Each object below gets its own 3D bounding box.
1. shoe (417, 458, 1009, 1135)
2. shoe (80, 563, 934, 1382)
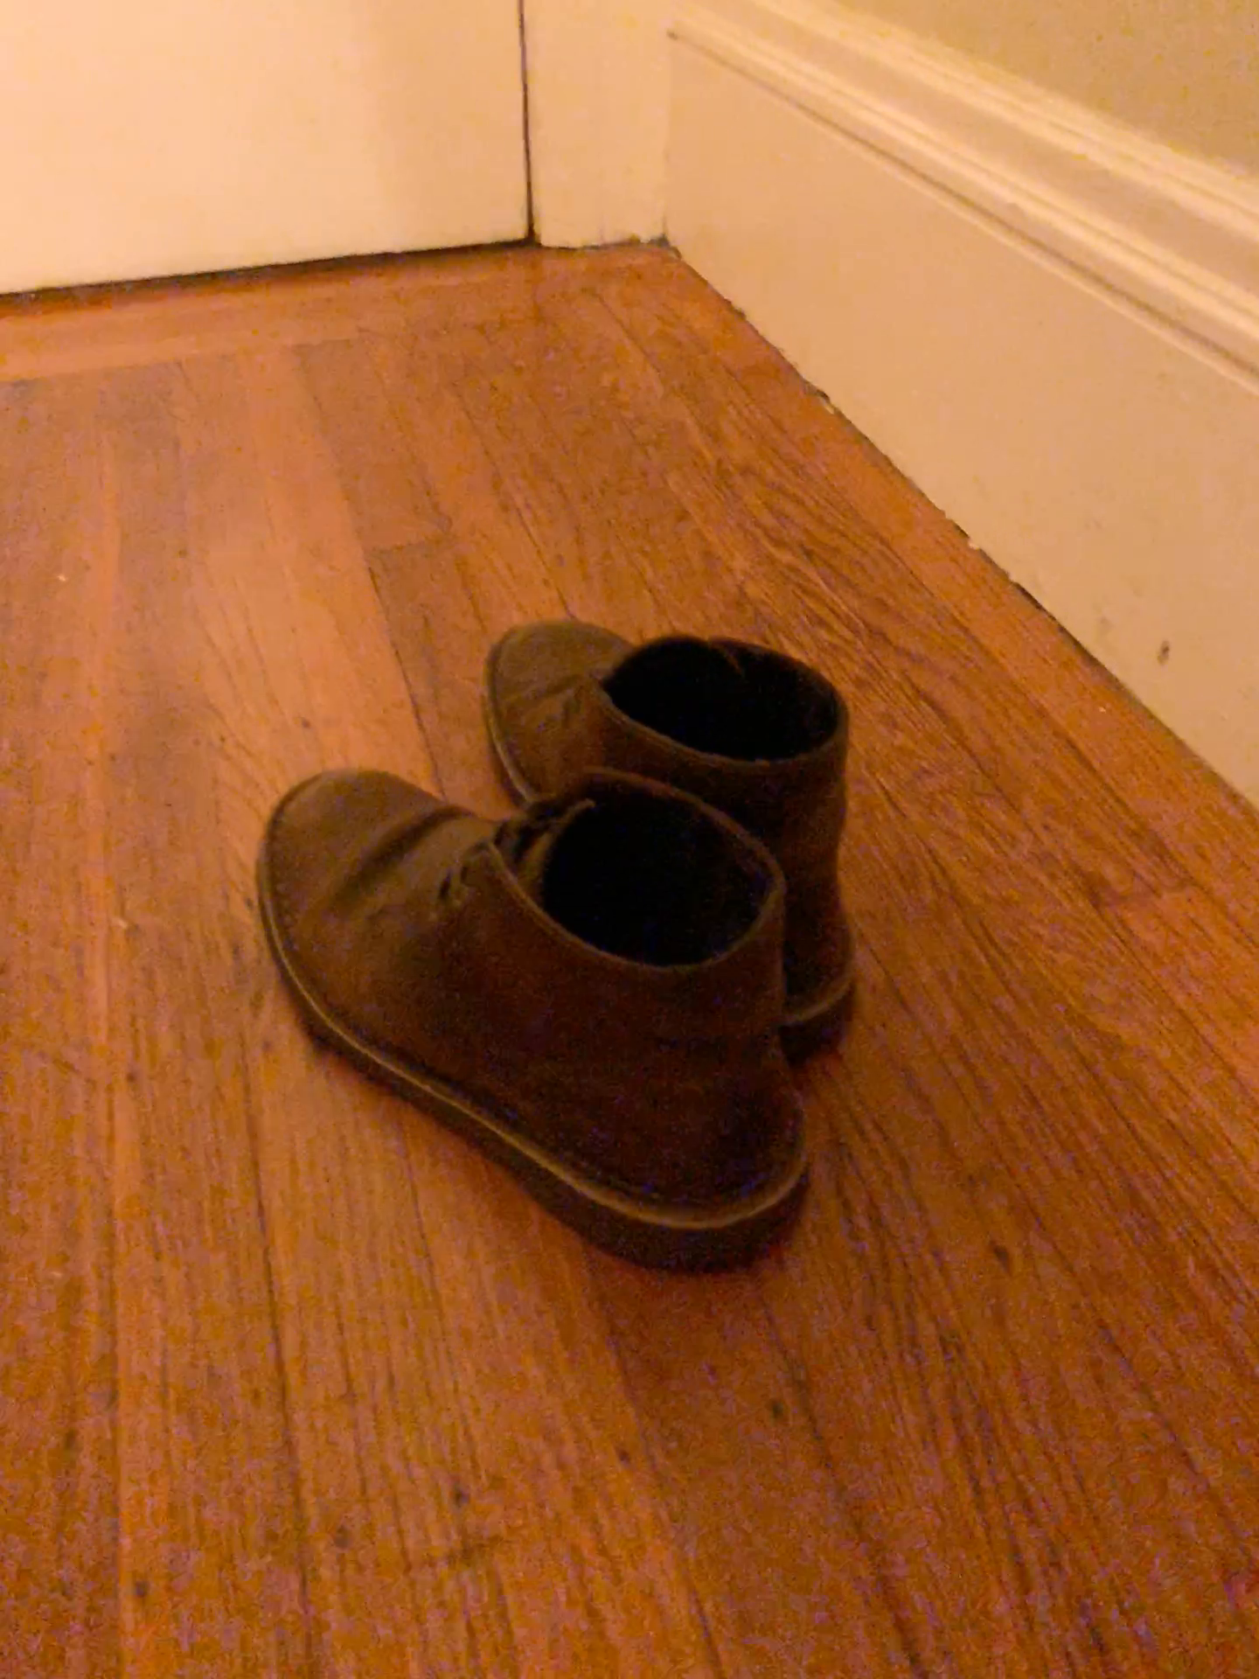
[{"bbox_3d":[0.015,-0.039,0.562,0.120,0.119,0.292,-17,45,-18],"label":"shoe"},{"bbox_3d":[-0.057,0.027,0.477,0.301,0.119,0.120,33,52,31],"label":"shoe"}]
